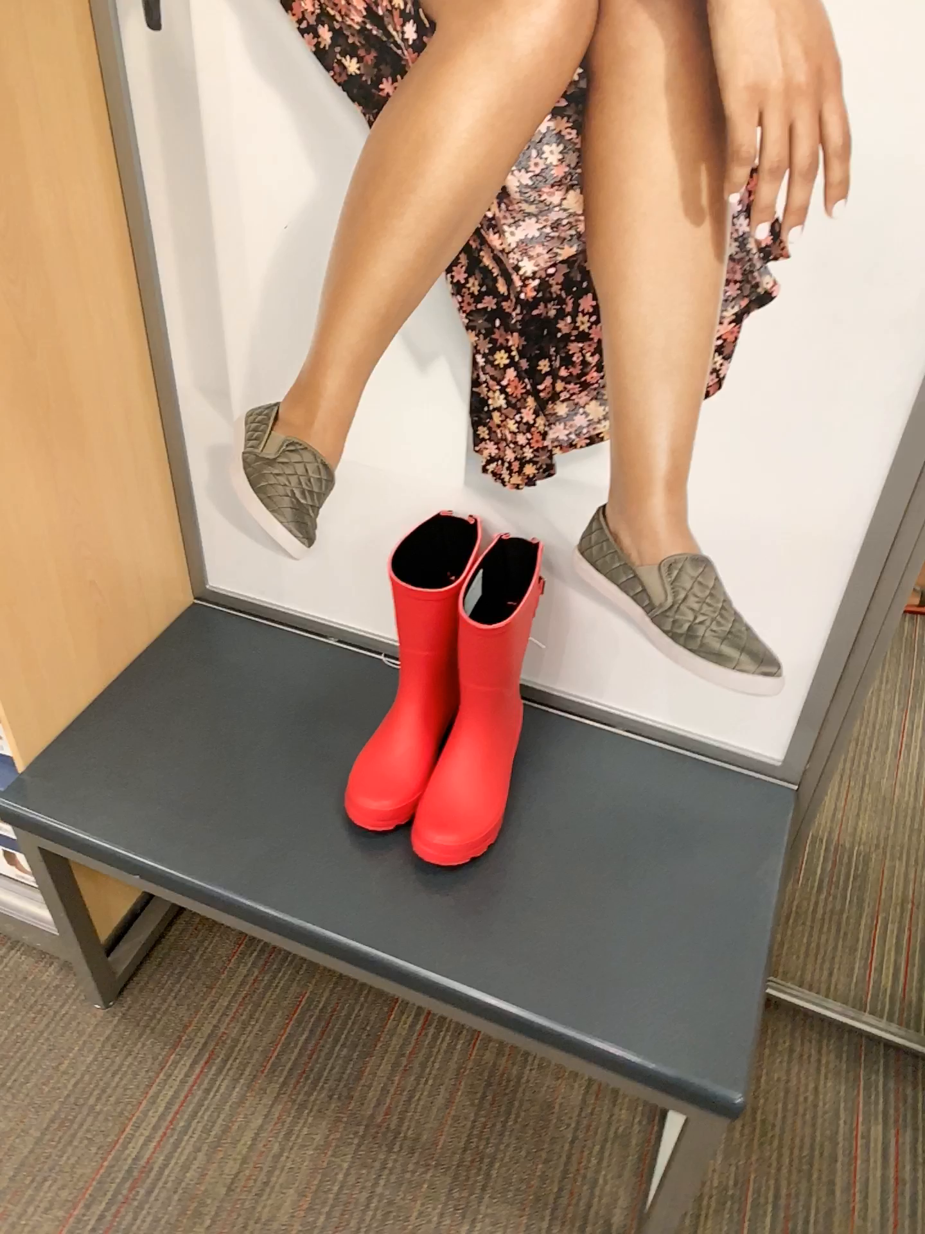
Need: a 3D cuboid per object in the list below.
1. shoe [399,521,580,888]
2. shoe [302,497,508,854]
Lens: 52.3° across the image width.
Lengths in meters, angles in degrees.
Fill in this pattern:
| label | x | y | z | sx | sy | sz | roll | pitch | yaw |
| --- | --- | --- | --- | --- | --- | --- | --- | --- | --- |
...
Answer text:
| label | x | y | z | sx | sy | sz | roll | pitch | yaw |
| --- | --- | --- | --- | --- | --- | --- | --- | --- | --- |
| shoe | 0.029 | 0.085 | 0.985 | 0.106 | 0.249 | 0.271 | 13 | 40 | 11 |
| shoe | -0.053 | 0.056 | 1.007 | 0.106 | 0.249 | 0.271 | 15 | 40 | 14 |
